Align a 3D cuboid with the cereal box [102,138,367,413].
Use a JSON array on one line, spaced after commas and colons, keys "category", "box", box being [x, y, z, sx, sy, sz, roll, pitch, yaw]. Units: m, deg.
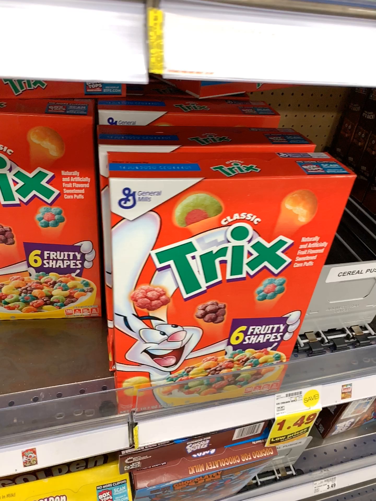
[{"category": "cereal box", "box": [0.022, 0.039, 0.390, 0.200, 0.289, 0.060, -4, 38, -14]}]
